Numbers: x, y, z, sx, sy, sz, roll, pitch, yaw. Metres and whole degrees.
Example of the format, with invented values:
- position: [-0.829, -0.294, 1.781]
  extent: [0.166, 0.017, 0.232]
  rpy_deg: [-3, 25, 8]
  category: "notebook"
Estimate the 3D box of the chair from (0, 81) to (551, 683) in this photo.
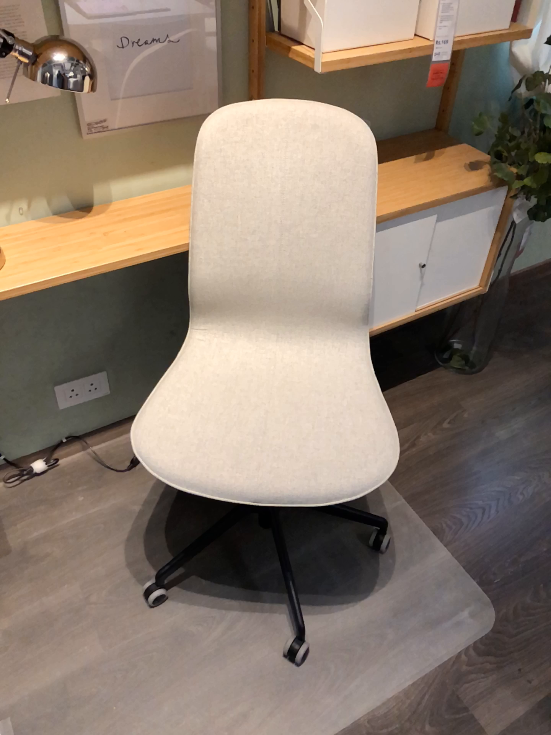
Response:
- position: [0.022, 0.041, 1.179]
  extent: [0.620, 0.904, 0.654]
  rpy_deg: [7, 41, 5]
  category: "chair"
